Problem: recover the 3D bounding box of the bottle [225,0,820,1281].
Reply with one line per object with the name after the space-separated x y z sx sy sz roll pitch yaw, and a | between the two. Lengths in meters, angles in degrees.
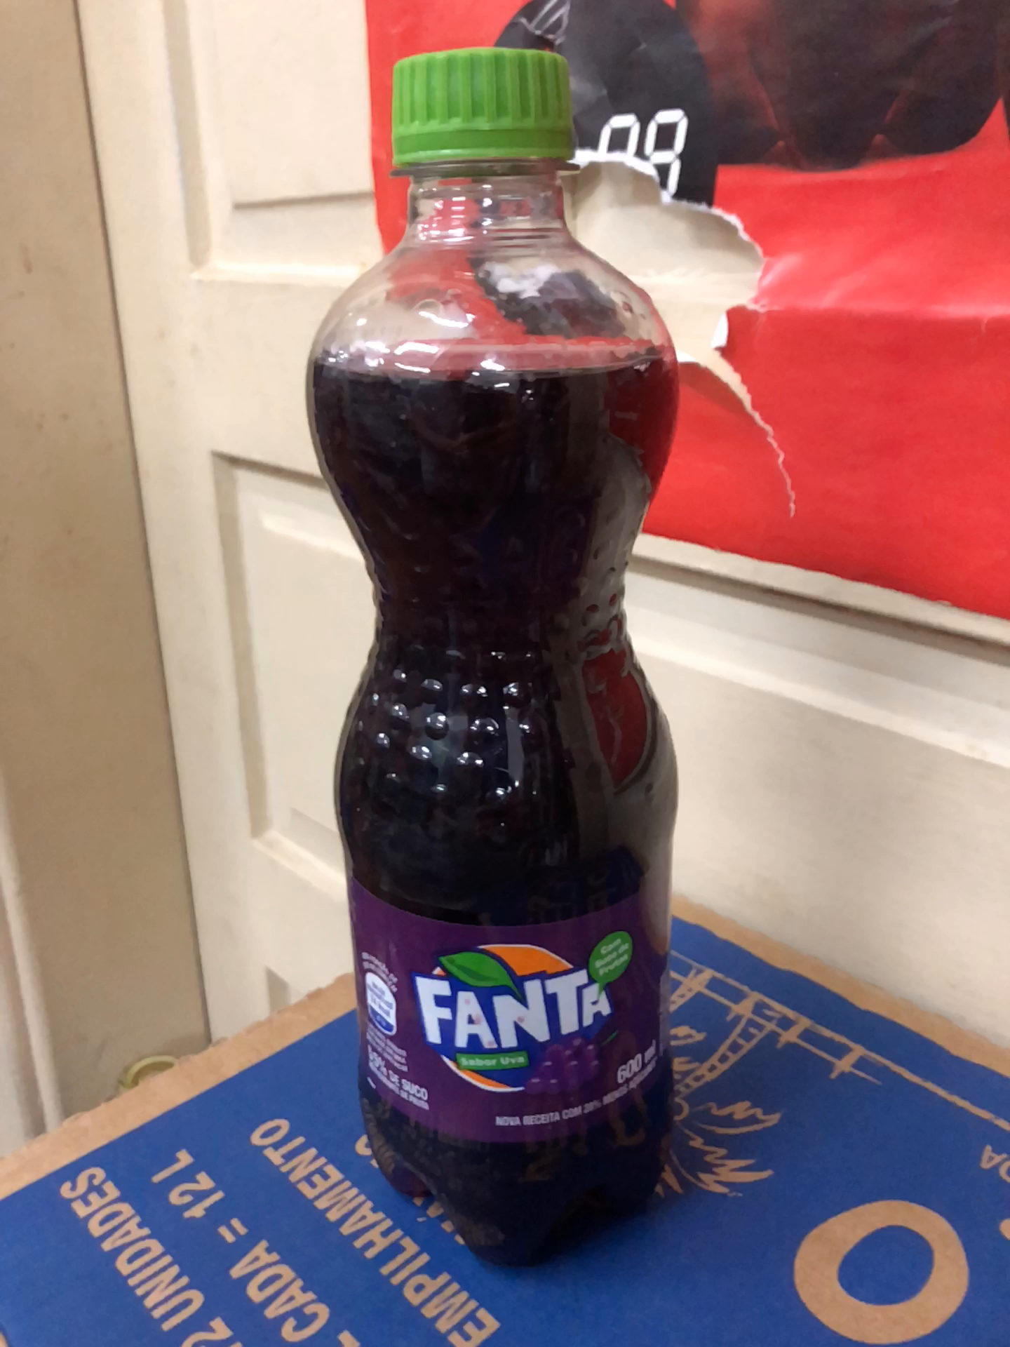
0.003 0.001 0.223 0.080 0.229 0.070 -1 20 -2 | bottle
